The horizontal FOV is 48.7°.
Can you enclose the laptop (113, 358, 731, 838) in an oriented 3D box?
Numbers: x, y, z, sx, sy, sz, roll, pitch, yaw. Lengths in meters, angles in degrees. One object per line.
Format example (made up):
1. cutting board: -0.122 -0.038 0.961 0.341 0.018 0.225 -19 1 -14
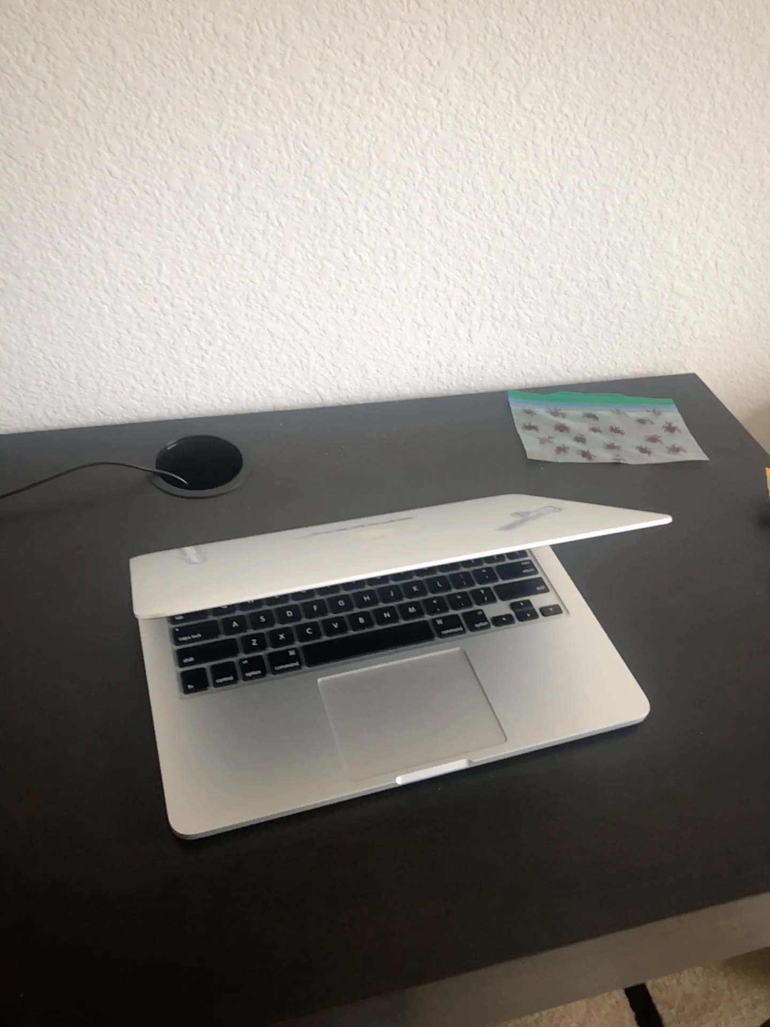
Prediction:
1. laptop: 0.004 0.032 0.543 0.309 0.133 0.225 -9 44 -16
